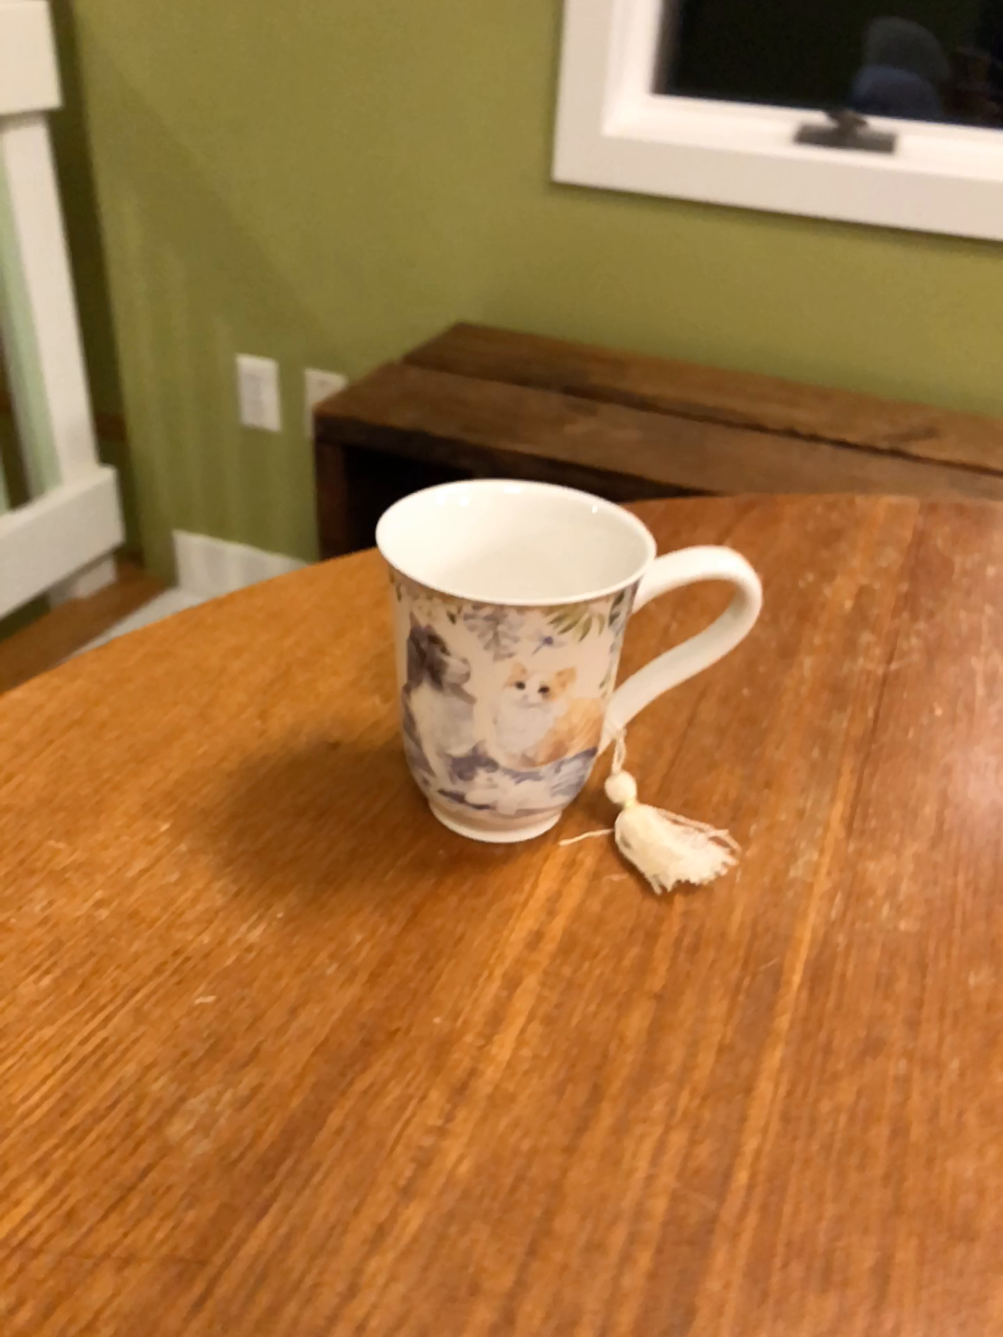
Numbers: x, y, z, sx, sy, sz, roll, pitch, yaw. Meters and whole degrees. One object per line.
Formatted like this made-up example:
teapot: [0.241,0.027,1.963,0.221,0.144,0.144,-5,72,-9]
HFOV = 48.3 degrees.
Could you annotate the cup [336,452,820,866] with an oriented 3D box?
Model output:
cup: [0.020,-0.010,0.398,0.135,0.092,0.095,-9,35,-20]
